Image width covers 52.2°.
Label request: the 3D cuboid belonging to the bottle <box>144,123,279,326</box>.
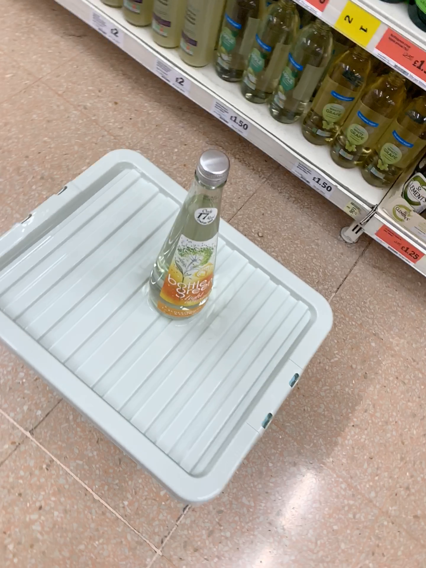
[{"bbox_3d":[-0.023,-0.045,0.498,0.090,0.288,0.090,4,66,-10],"label":"bottle"}]
